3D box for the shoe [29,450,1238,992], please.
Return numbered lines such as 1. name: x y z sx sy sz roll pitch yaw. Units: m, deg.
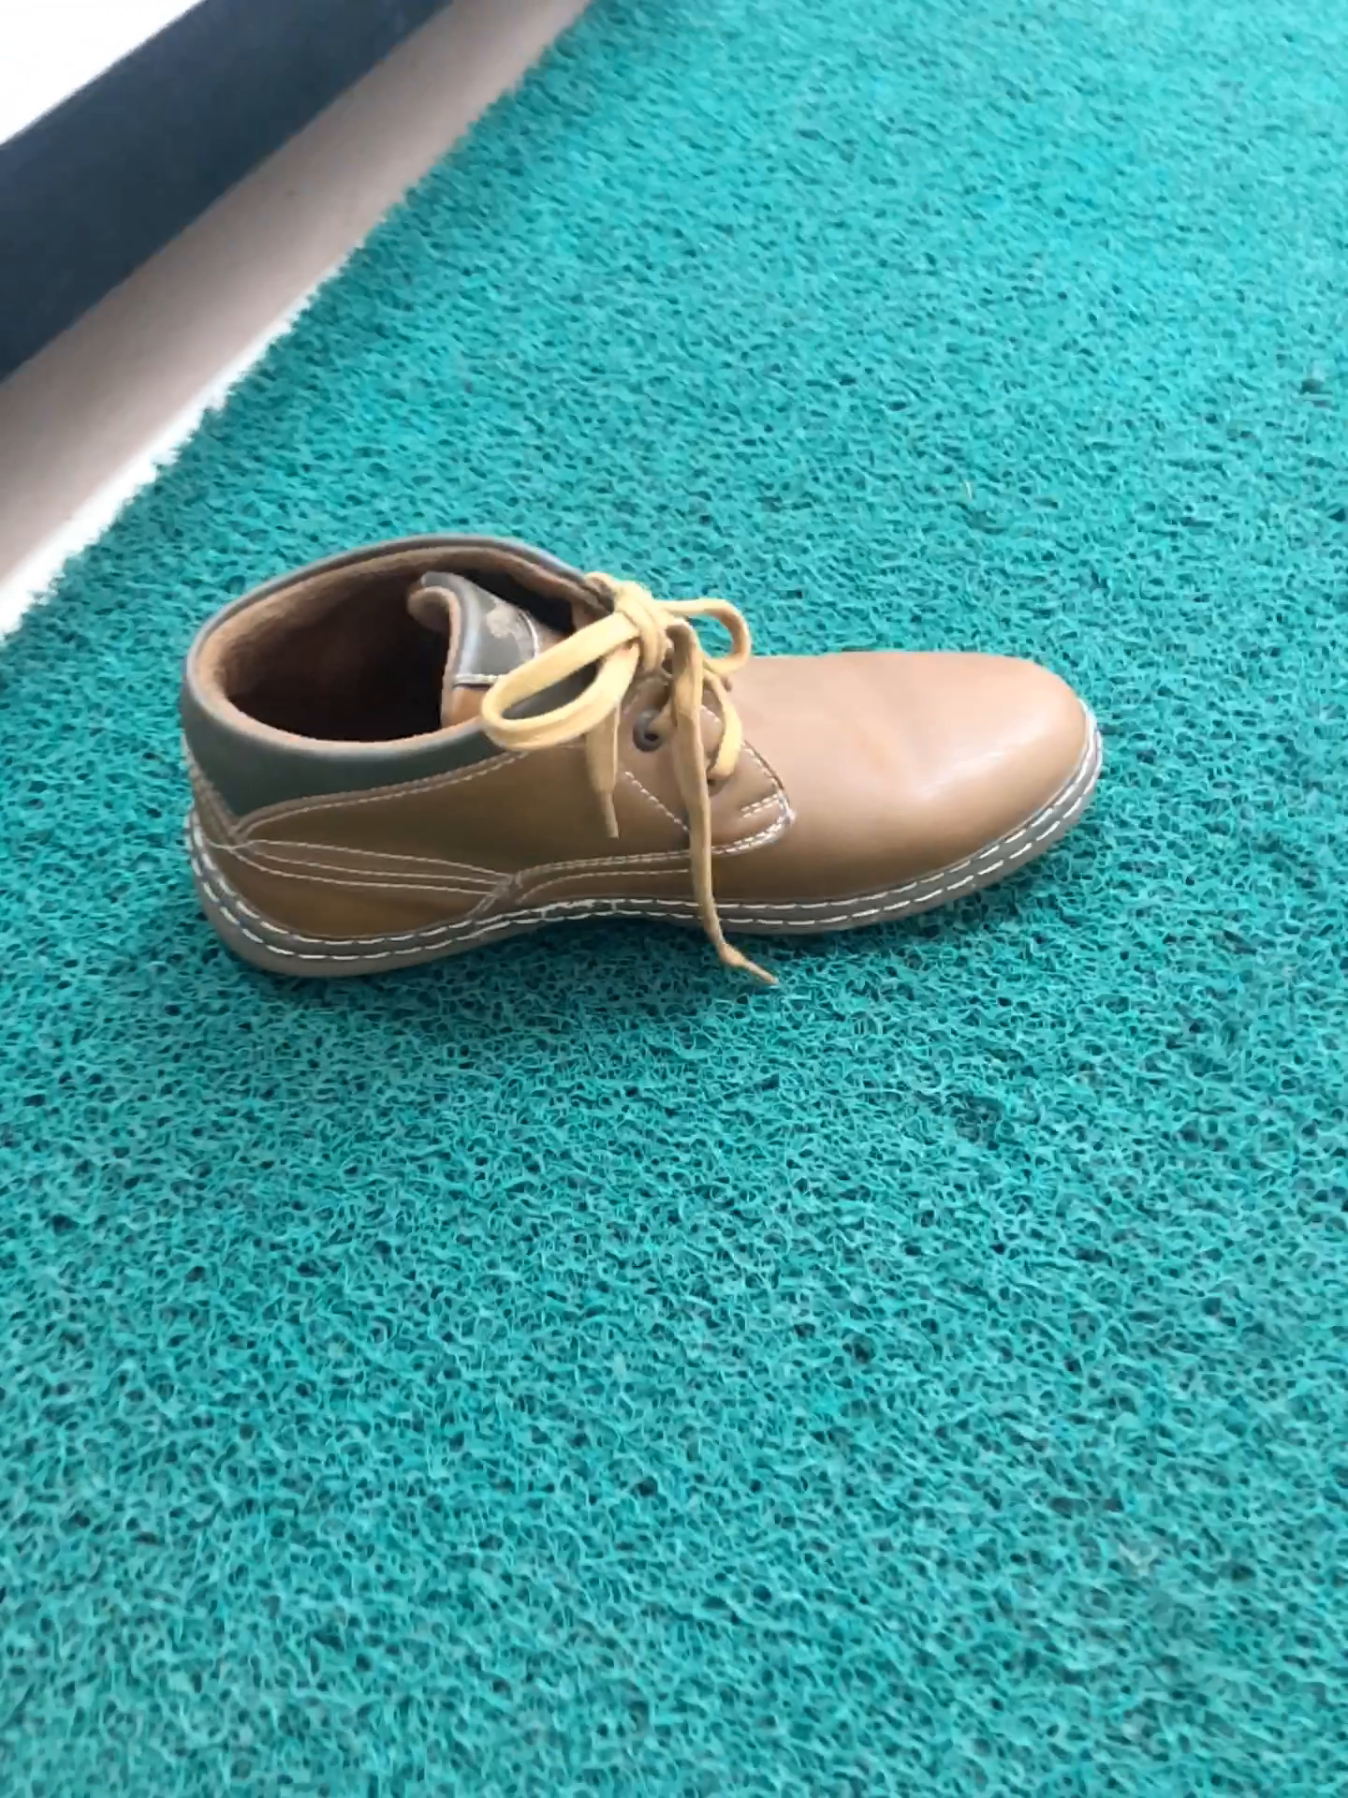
1. shoe: -0.011 -0.049 0.405 0.280 0.080 0.100 -4 56 -4
